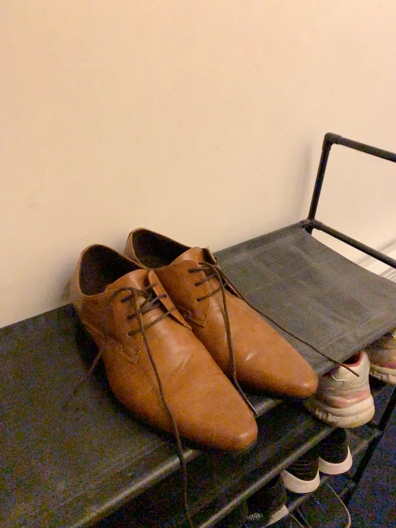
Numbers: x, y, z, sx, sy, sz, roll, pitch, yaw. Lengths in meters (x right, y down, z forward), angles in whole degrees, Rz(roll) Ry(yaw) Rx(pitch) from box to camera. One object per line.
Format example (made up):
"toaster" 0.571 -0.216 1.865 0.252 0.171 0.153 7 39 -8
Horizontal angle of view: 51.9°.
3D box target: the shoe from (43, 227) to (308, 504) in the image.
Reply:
"shoe" -0.041 0.070 0.411 0.110 0.099 0.271 -22 39 -34

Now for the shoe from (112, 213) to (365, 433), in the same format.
"shoe" 0.026 0.045 0.484 0.101 0.099 0.291 -25 41 -37
